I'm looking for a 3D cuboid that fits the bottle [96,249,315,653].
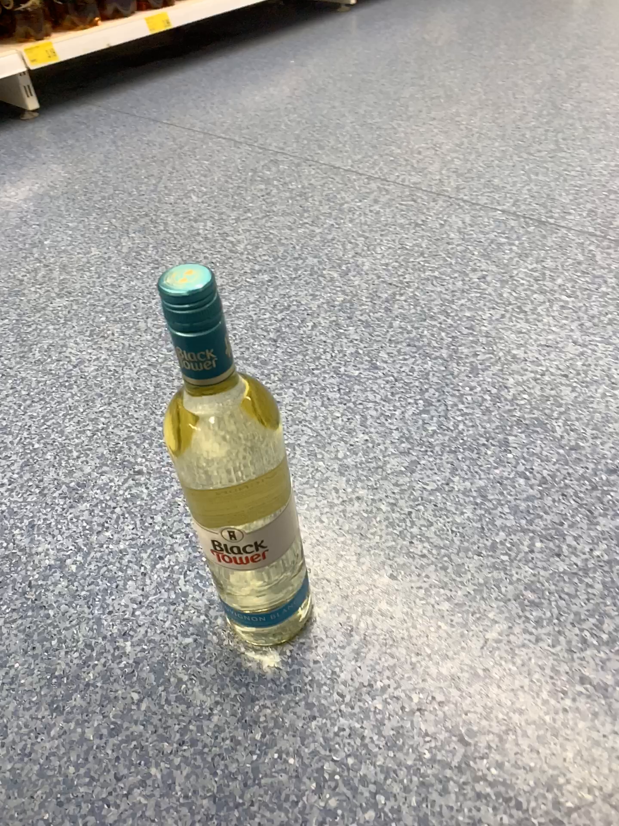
[{"bbox_3d":[-0.047,0.050,0.414,0.071,0.305,0.066,-4,42,4],"label":"bottle"}]
